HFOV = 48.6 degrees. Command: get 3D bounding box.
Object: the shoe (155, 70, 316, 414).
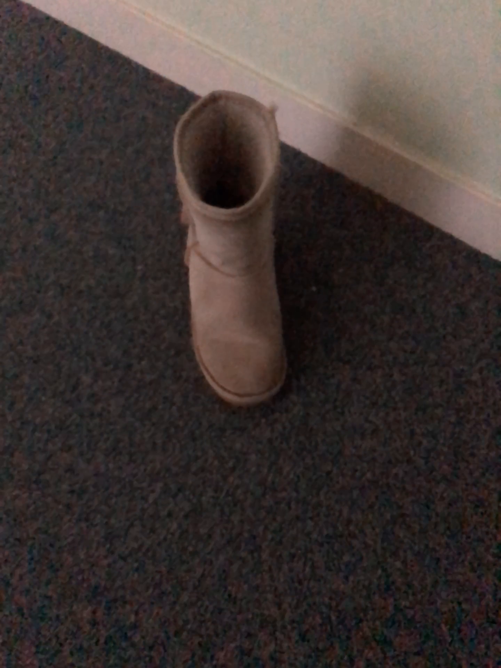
[{"bbox_3d":[-0.019,-0.076,0.559,0.120,0.210,0.271,-3,71,-1],"label":"shoe"}]
